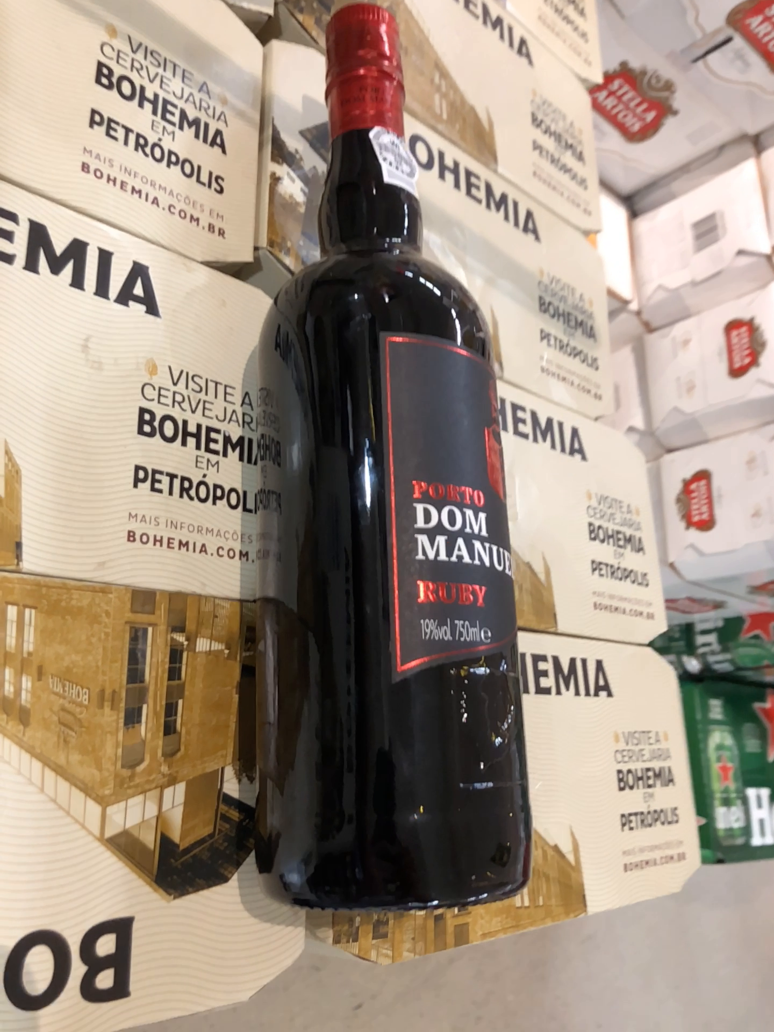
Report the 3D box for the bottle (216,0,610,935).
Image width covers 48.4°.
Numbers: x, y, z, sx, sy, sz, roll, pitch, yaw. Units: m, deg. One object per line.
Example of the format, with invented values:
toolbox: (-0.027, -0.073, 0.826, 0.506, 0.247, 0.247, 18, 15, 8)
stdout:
bottle: (0.005, -0.053, 0.286, 0.090, 0.070, 0.330, 16, 66, -48)
